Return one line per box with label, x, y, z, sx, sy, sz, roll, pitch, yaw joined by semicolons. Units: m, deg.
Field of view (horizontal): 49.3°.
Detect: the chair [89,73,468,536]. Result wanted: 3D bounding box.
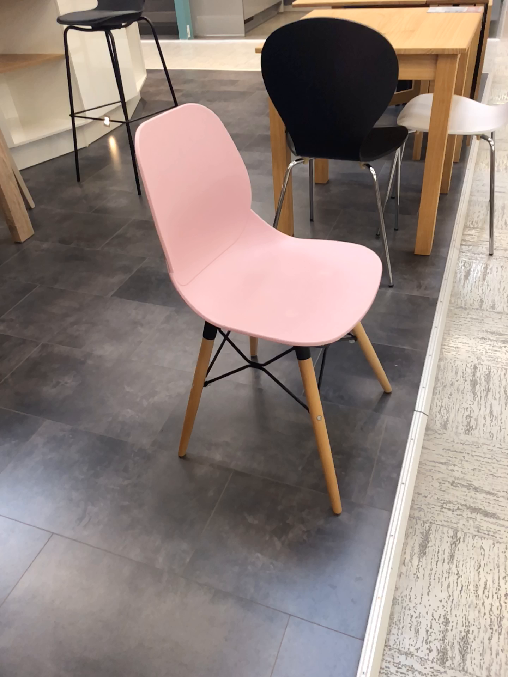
chair;0.107;-0.096;1.319;0.549;0.847;0.555;14;42;22
